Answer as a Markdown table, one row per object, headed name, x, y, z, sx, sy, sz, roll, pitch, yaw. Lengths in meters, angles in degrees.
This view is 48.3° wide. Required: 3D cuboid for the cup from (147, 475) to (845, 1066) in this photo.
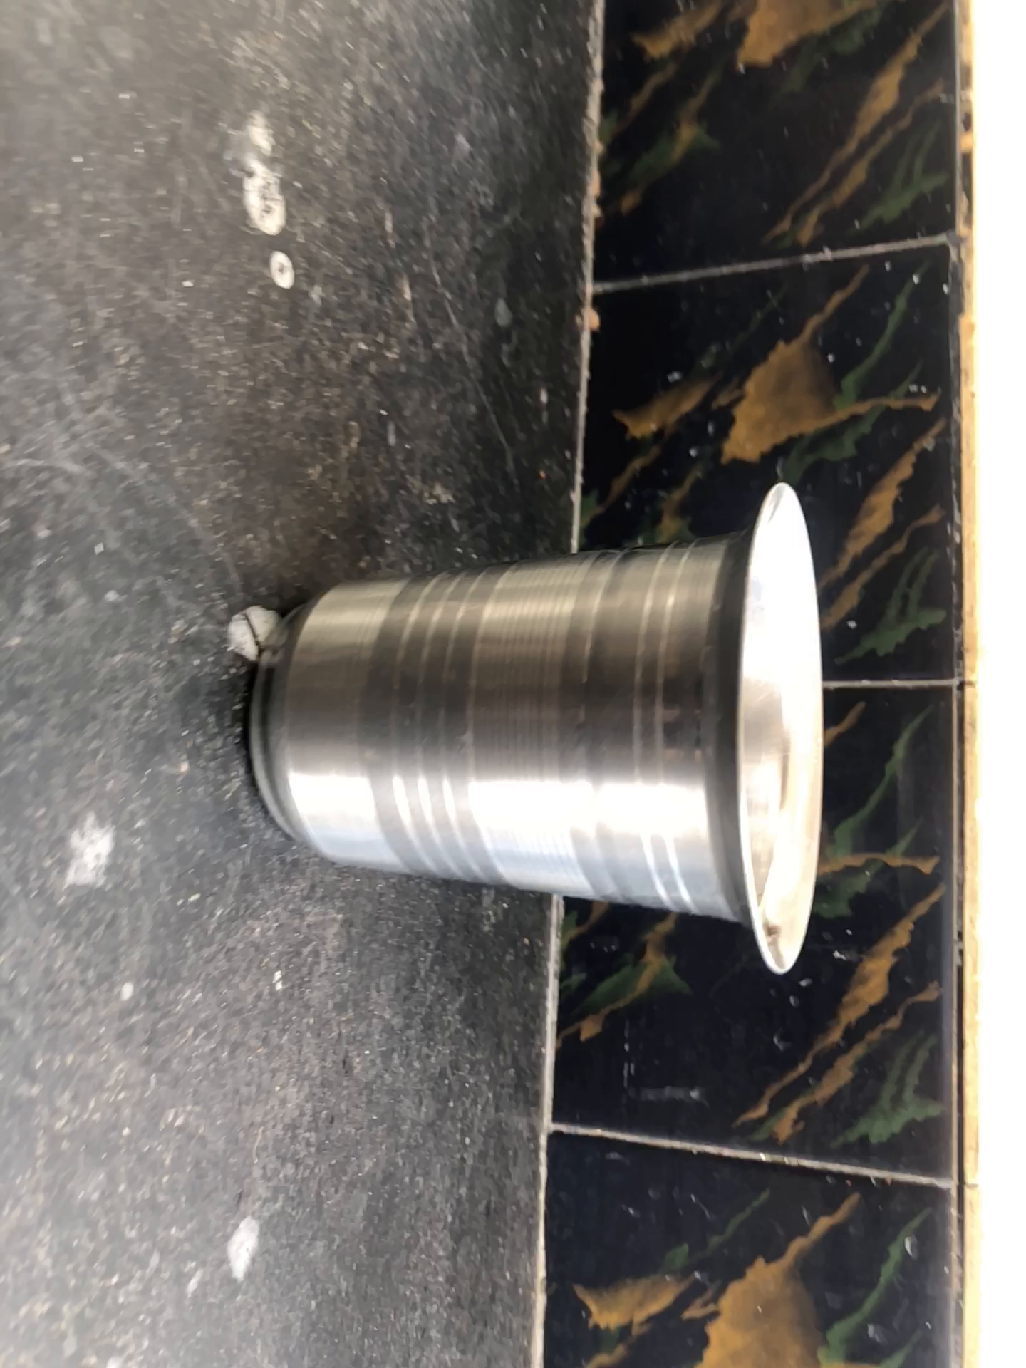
| name | x | y | z | sx | sy | sz | roll | pitch | yaw |
| --- | --- | --- | --- | --- | --- | --- | --- | --- | --- |
| cup | 0.006 | 0.008 | 0.234 | 0.091 | 0.109 | 0.090 | 0 | 90 | -68 |
